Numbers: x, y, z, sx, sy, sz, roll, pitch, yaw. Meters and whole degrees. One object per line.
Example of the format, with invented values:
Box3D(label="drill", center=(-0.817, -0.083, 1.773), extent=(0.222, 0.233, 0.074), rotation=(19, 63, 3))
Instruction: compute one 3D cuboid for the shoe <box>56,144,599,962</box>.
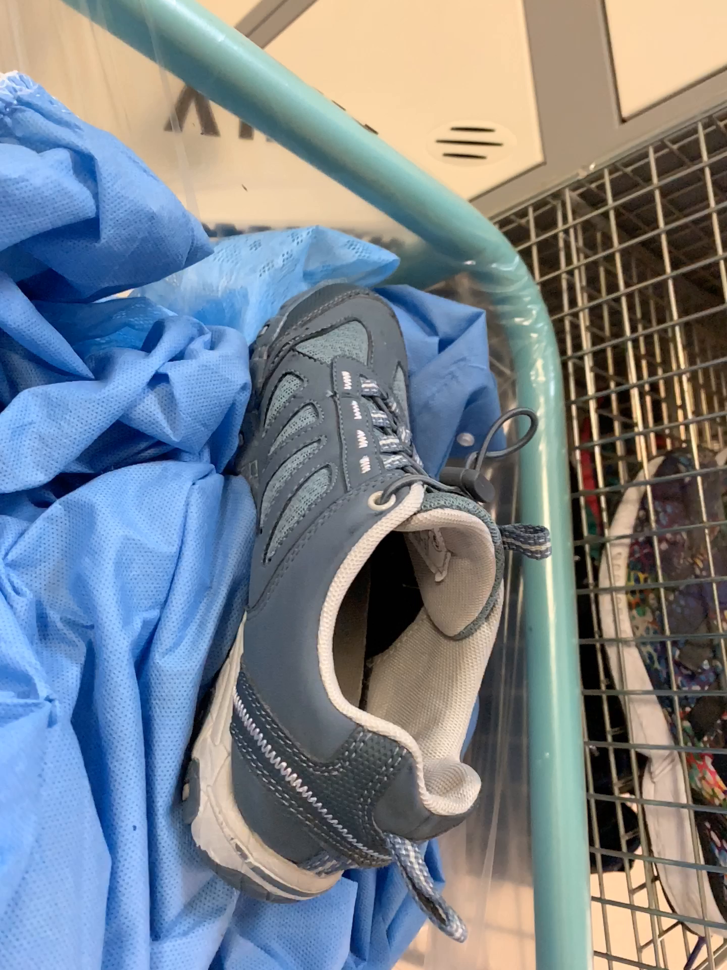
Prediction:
Box3D(label="shoe", center=(0.004, 0.019, 0.276), extent=(0.102, 0.109, 0.241), rotation=(34, 57, -36))
